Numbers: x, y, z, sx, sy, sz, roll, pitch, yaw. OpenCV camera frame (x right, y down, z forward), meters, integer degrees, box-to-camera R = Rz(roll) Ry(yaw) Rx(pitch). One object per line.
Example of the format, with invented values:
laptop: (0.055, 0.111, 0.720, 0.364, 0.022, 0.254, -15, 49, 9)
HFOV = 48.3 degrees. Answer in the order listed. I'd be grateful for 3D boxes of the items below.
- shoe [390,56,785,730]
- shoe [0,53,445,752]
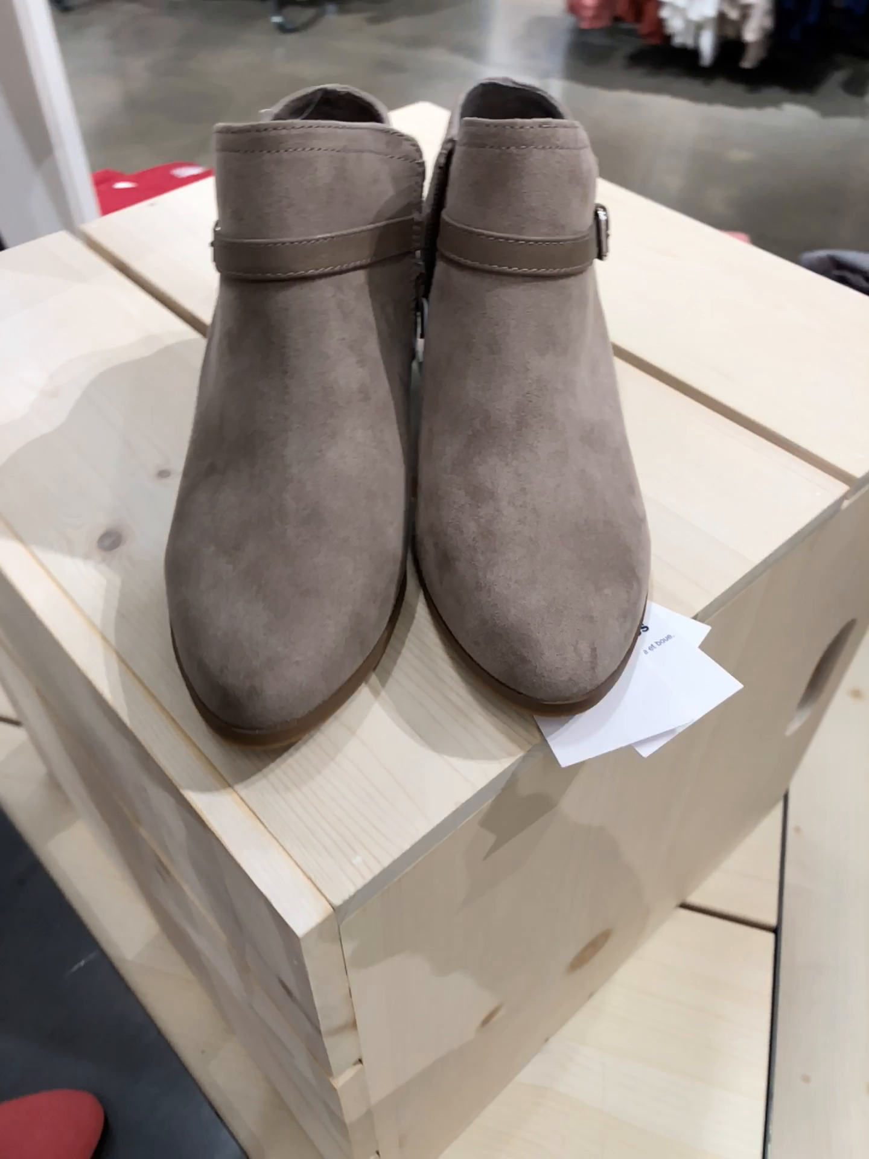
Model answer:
shoe: (0.032, -0.083, 0.346, 0.090, 0.110, 0.251, -1, 47, -1)
shoe: (-0.048, -0.079, 0.338, 0.090, 0.110, 0.251, 2, 47, 2)
